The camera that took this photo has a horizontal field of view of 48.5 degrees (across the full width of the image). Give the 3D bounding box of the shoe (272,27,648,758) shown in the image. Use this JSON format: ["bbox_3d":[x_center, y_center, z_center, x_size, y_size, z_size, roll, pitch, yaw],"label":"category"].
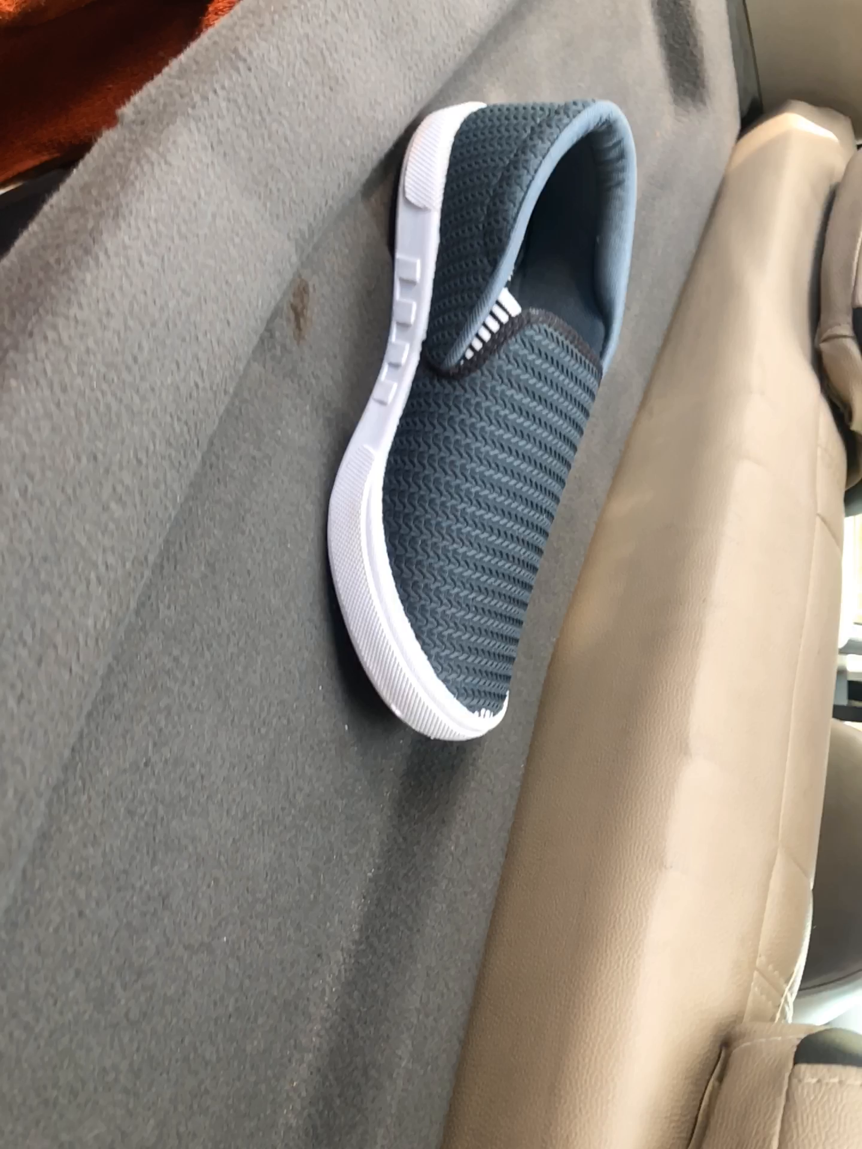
[{"bbox_3d":[0.023,-0.074,0.399,0.081,0.089,0.280,36,59,-56],"label":"shoe"}]
